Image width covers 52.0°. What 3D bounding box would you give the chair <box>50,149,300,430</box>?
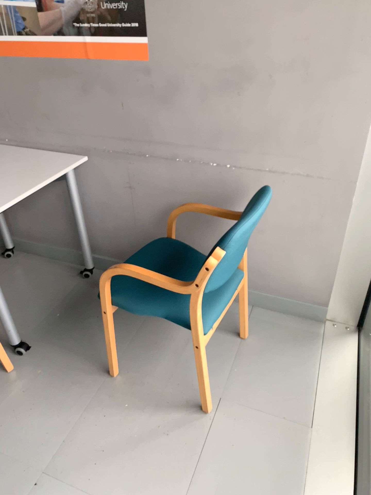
[{"bbox_3d":[0.019,0.100,1.528,0.641,0.723,0.685,13,35,22],"label":"chair"}]
